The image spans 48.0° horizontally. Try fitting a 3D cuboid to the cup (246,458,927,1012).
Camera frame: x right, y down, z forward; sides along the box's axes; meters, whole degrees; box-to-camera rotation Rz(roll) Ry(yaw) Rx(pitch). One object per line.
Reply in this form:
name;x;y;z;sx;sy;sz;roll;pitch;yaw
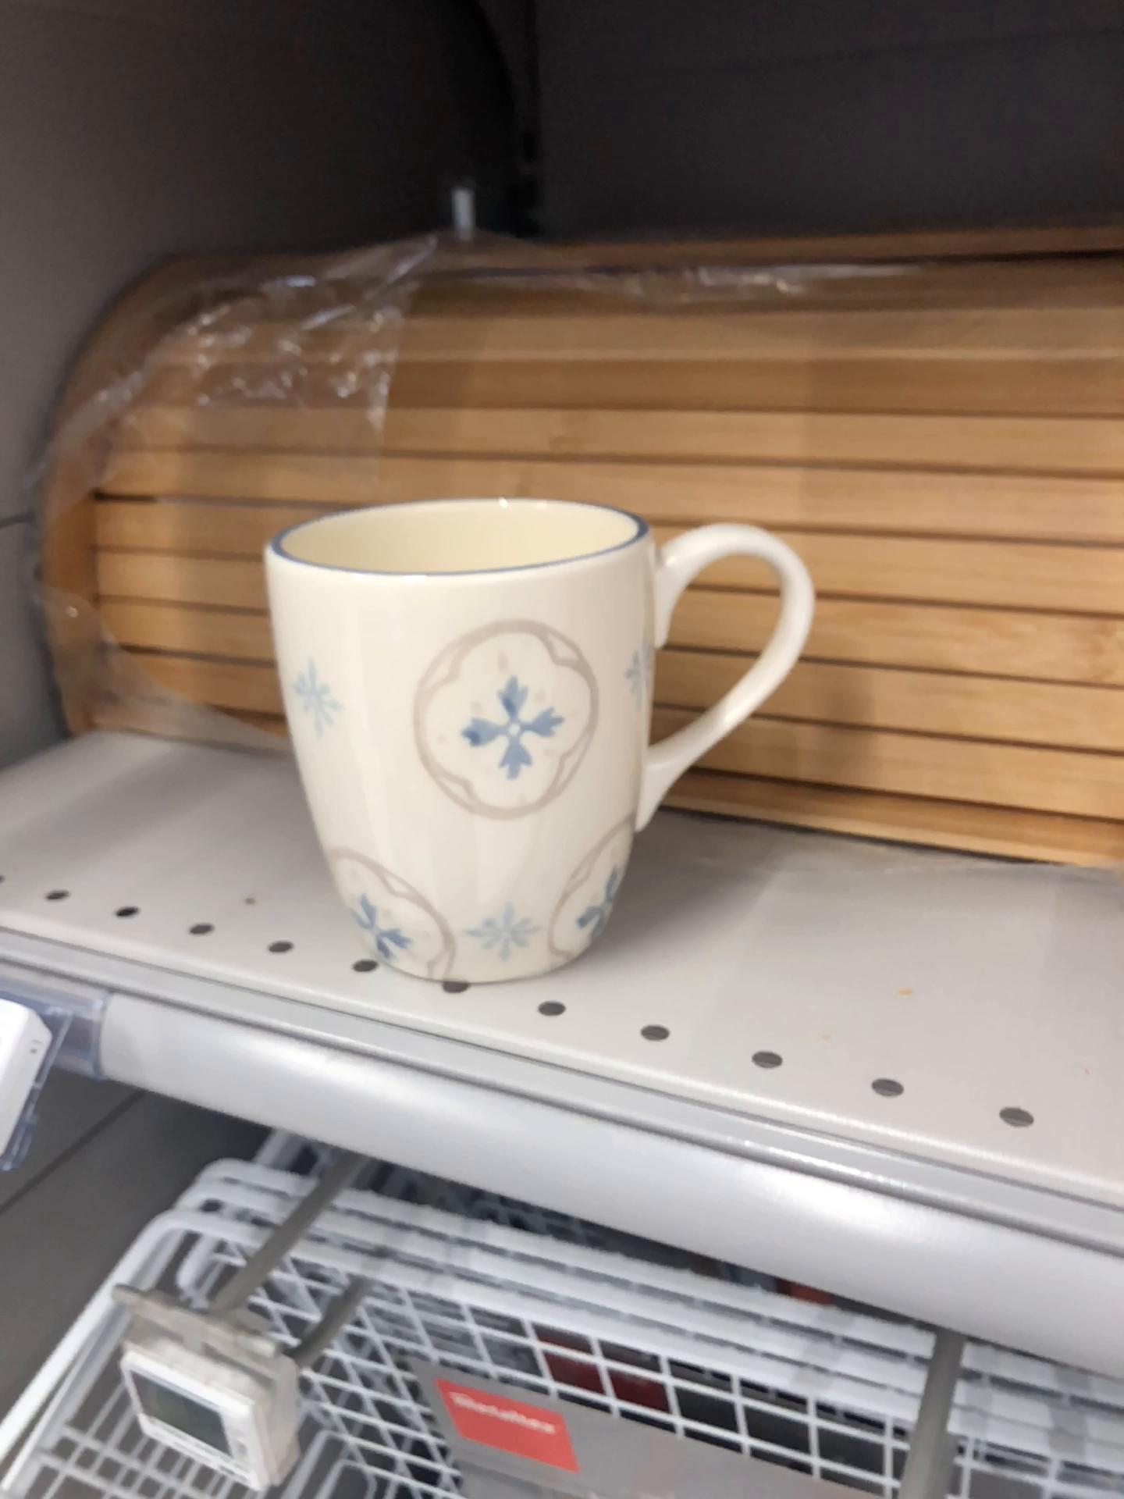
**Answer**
cup;0.002;-0.012;0.298;0.134;0.089;0.084;-9;23;-15
